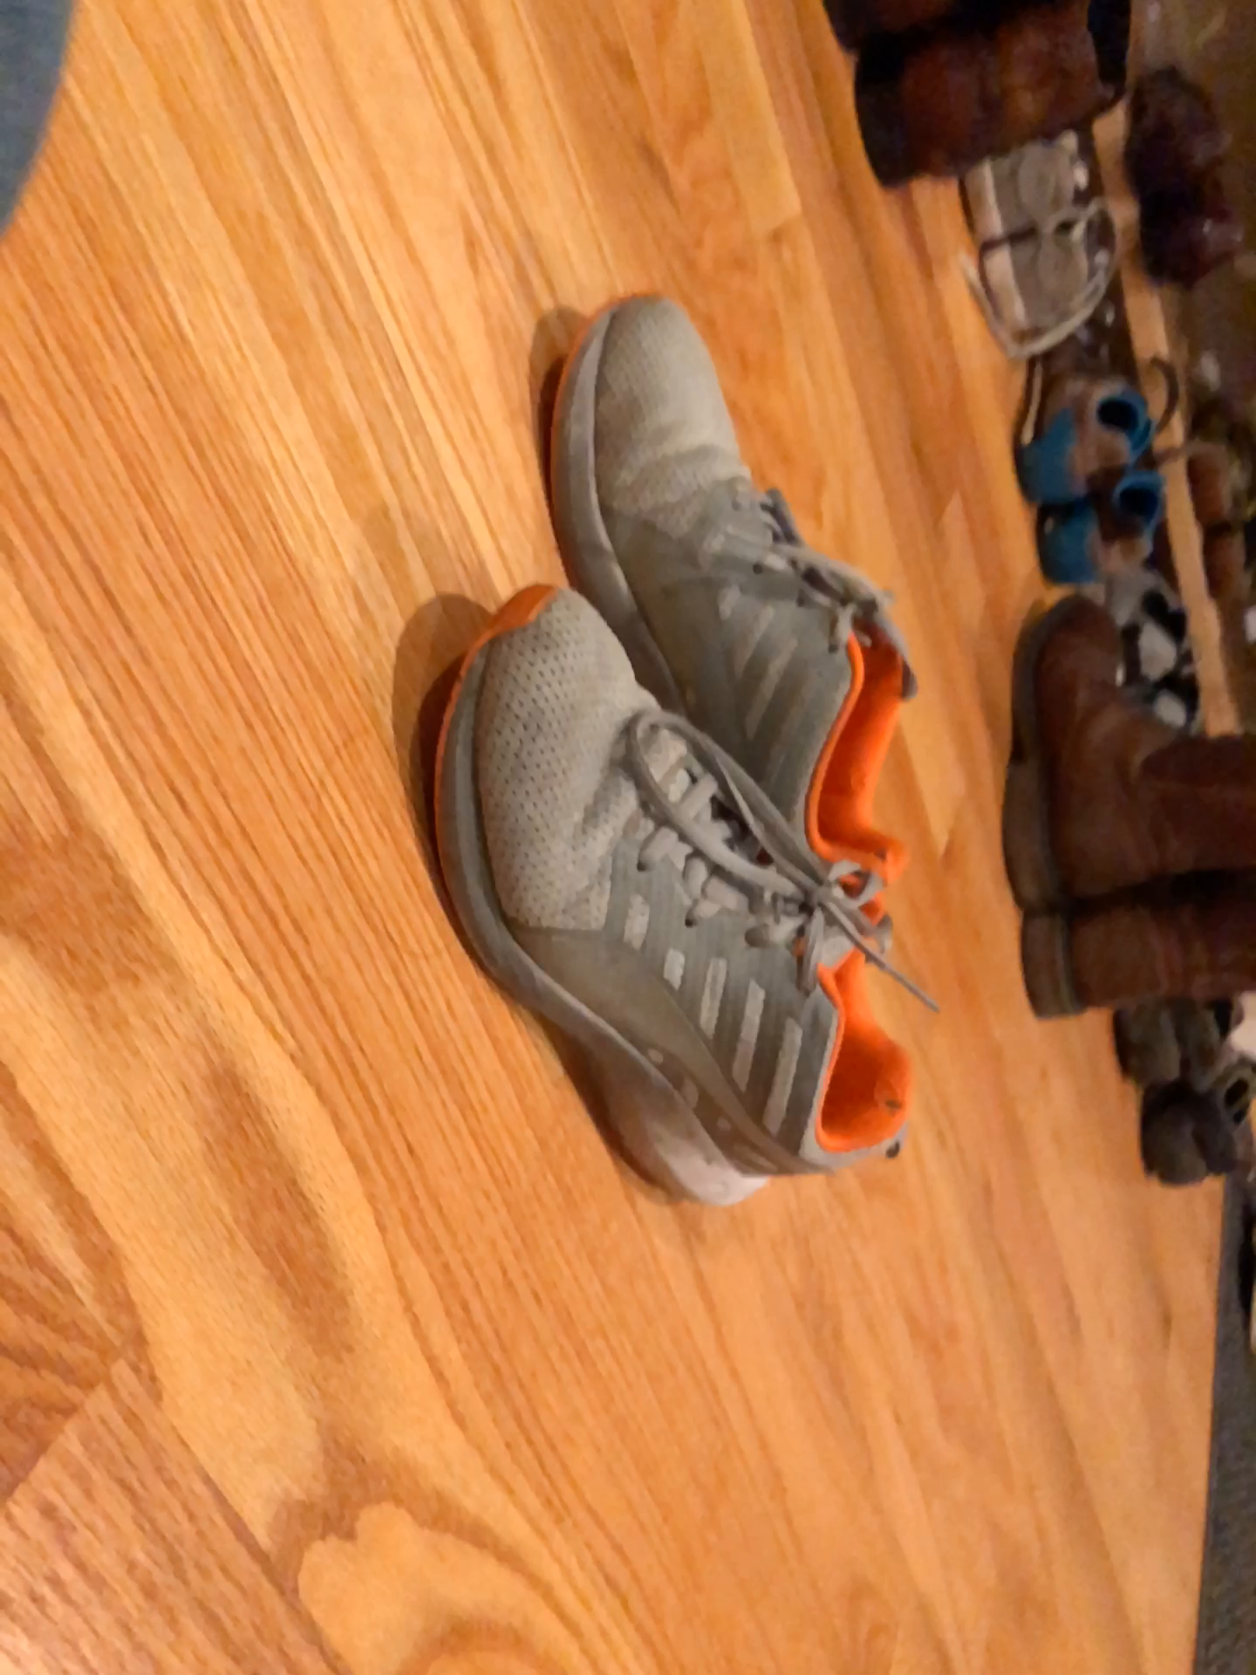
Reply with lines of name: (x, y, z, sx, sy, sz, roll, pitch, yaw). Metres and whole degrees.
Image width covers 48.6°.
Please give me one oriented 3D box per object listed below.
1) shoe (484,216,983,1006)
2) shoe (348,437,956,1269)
shoe: (0.046, -0.076, 0.508, 0.101, 0.099, 0.250, -32, 112, -58)
shoe: (0.026, 0.017, 0.455, 0.250, 0.080, 0.111, 63, 35, -31)
